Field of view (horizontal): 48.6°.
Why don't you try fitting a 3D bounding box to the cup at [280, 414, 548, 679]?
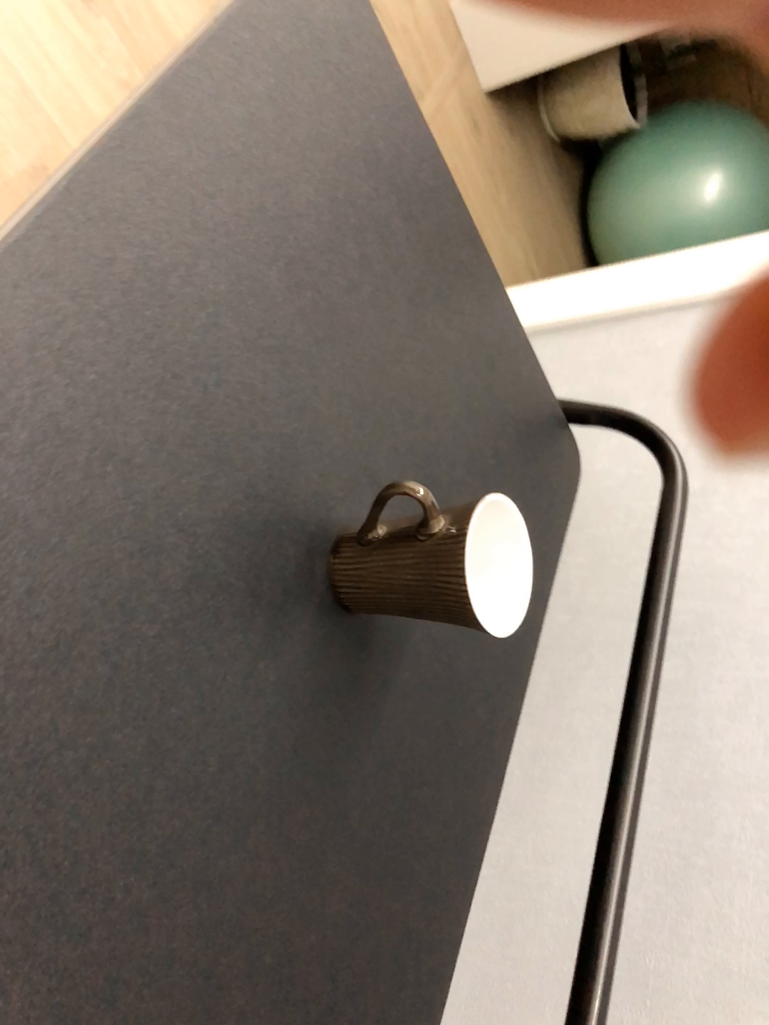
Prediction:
[{"bbox_3d":[0.017,0.016,0.371,0.089,0.069,0.065,61,41,-33],"label":"cup"}]
